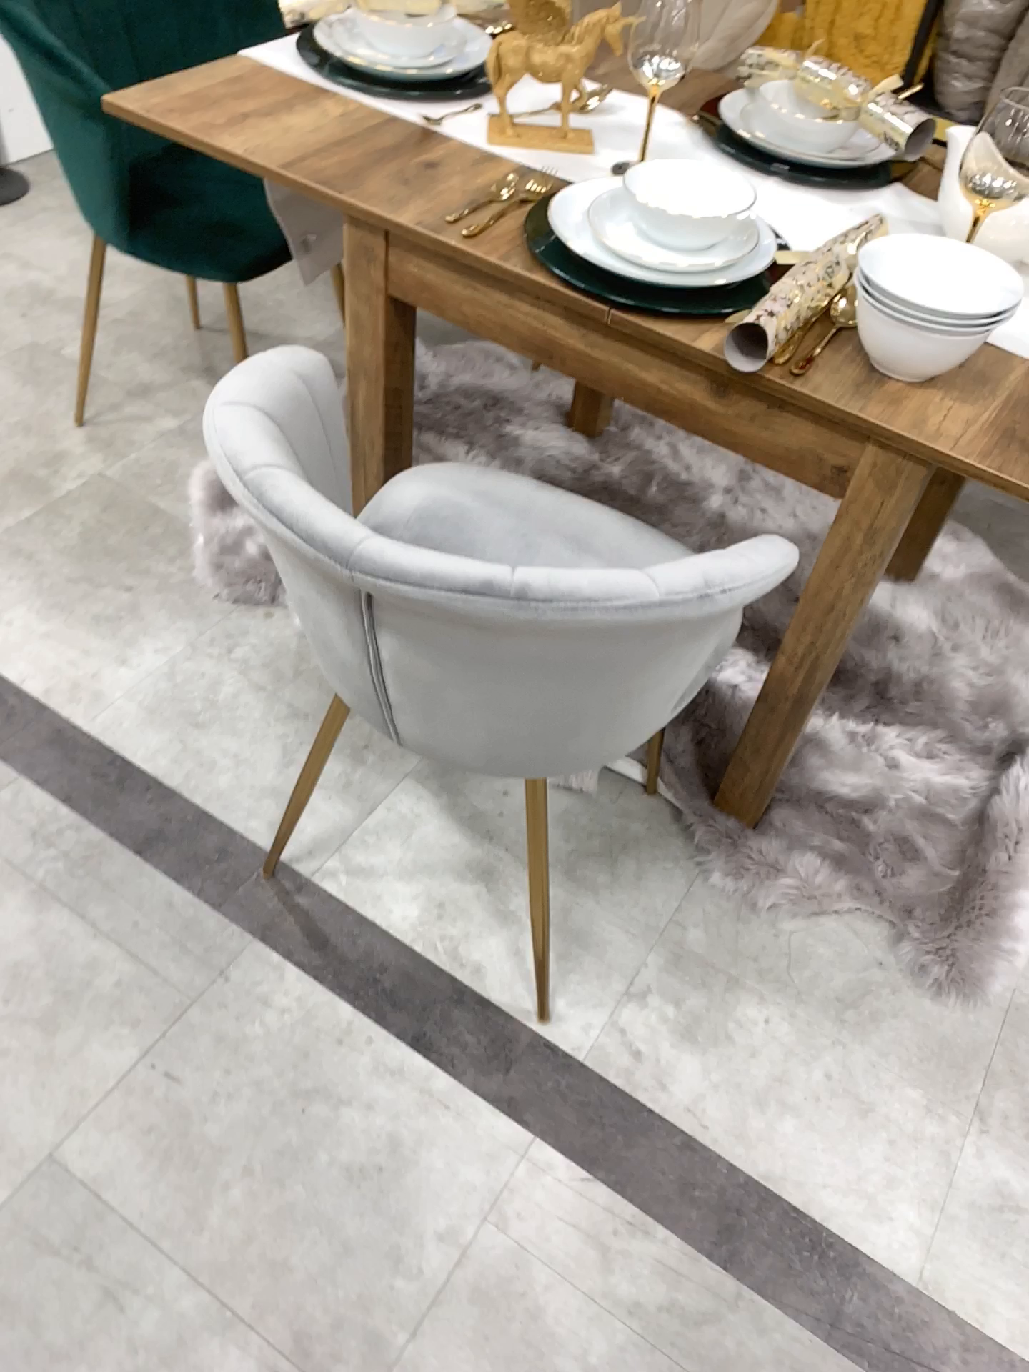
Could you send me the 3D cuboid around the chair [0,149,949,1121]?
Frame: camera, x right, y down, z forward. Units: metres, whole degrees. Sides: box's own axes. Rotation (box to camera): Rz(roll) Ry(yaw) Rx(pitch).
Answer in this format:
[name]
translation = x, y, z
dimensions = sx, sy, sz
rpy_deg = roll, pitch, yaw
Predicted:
[chair]
translation = -0.030, -0.054, 1.168
dimensions = 0.632, 0.709, 0.554
rpy_deg = 25, 50, 15
